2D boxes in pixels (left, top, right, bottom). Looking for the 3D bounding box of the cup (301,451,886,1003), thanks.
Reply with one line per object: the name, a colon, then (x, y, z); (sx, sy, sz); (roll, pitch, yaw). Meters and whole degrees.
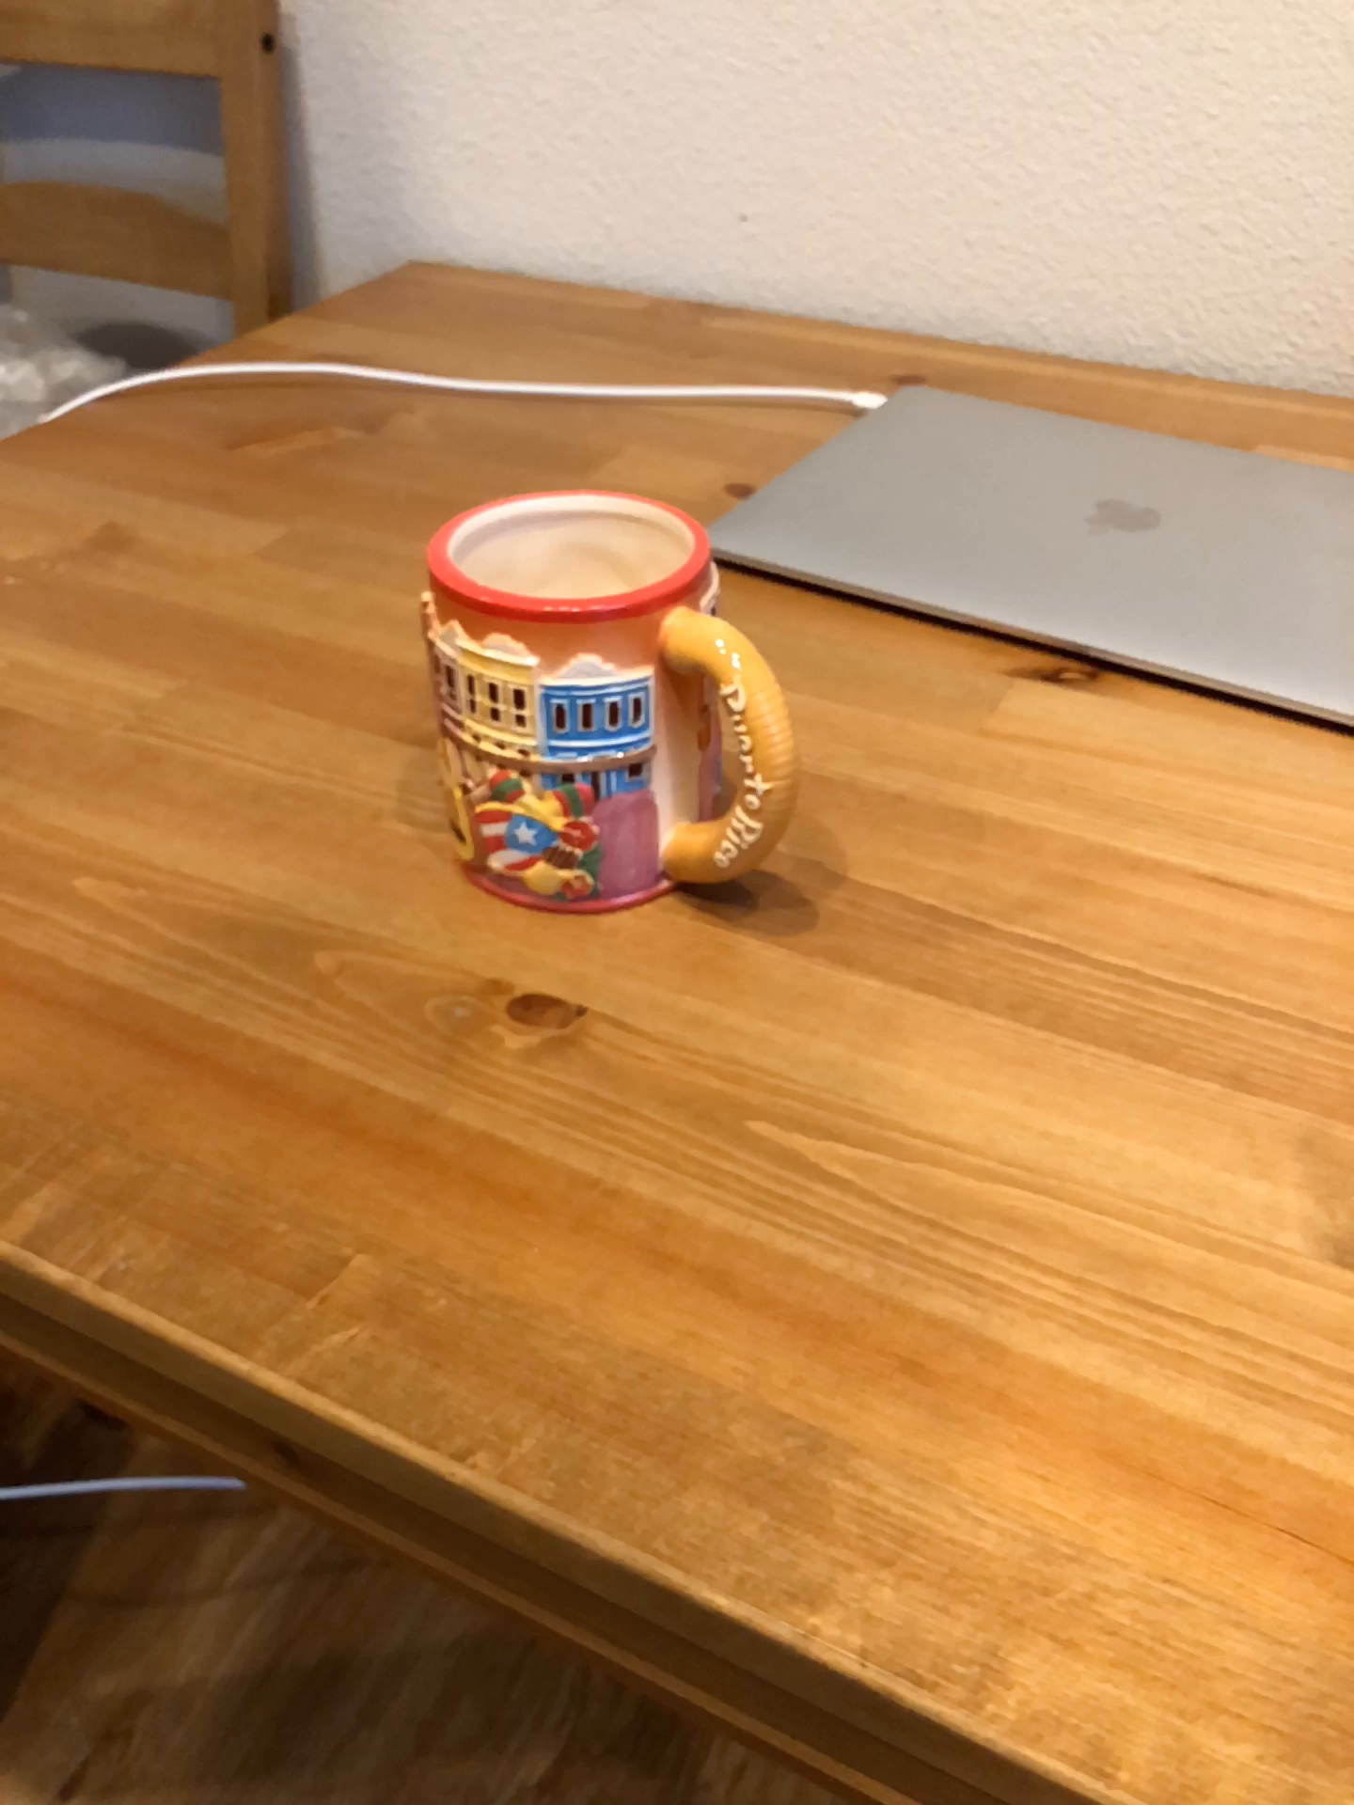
cup: (-0.024, -0.056, 0.432); (0.130, 0.090, 0.090); (29, 46, 33)
